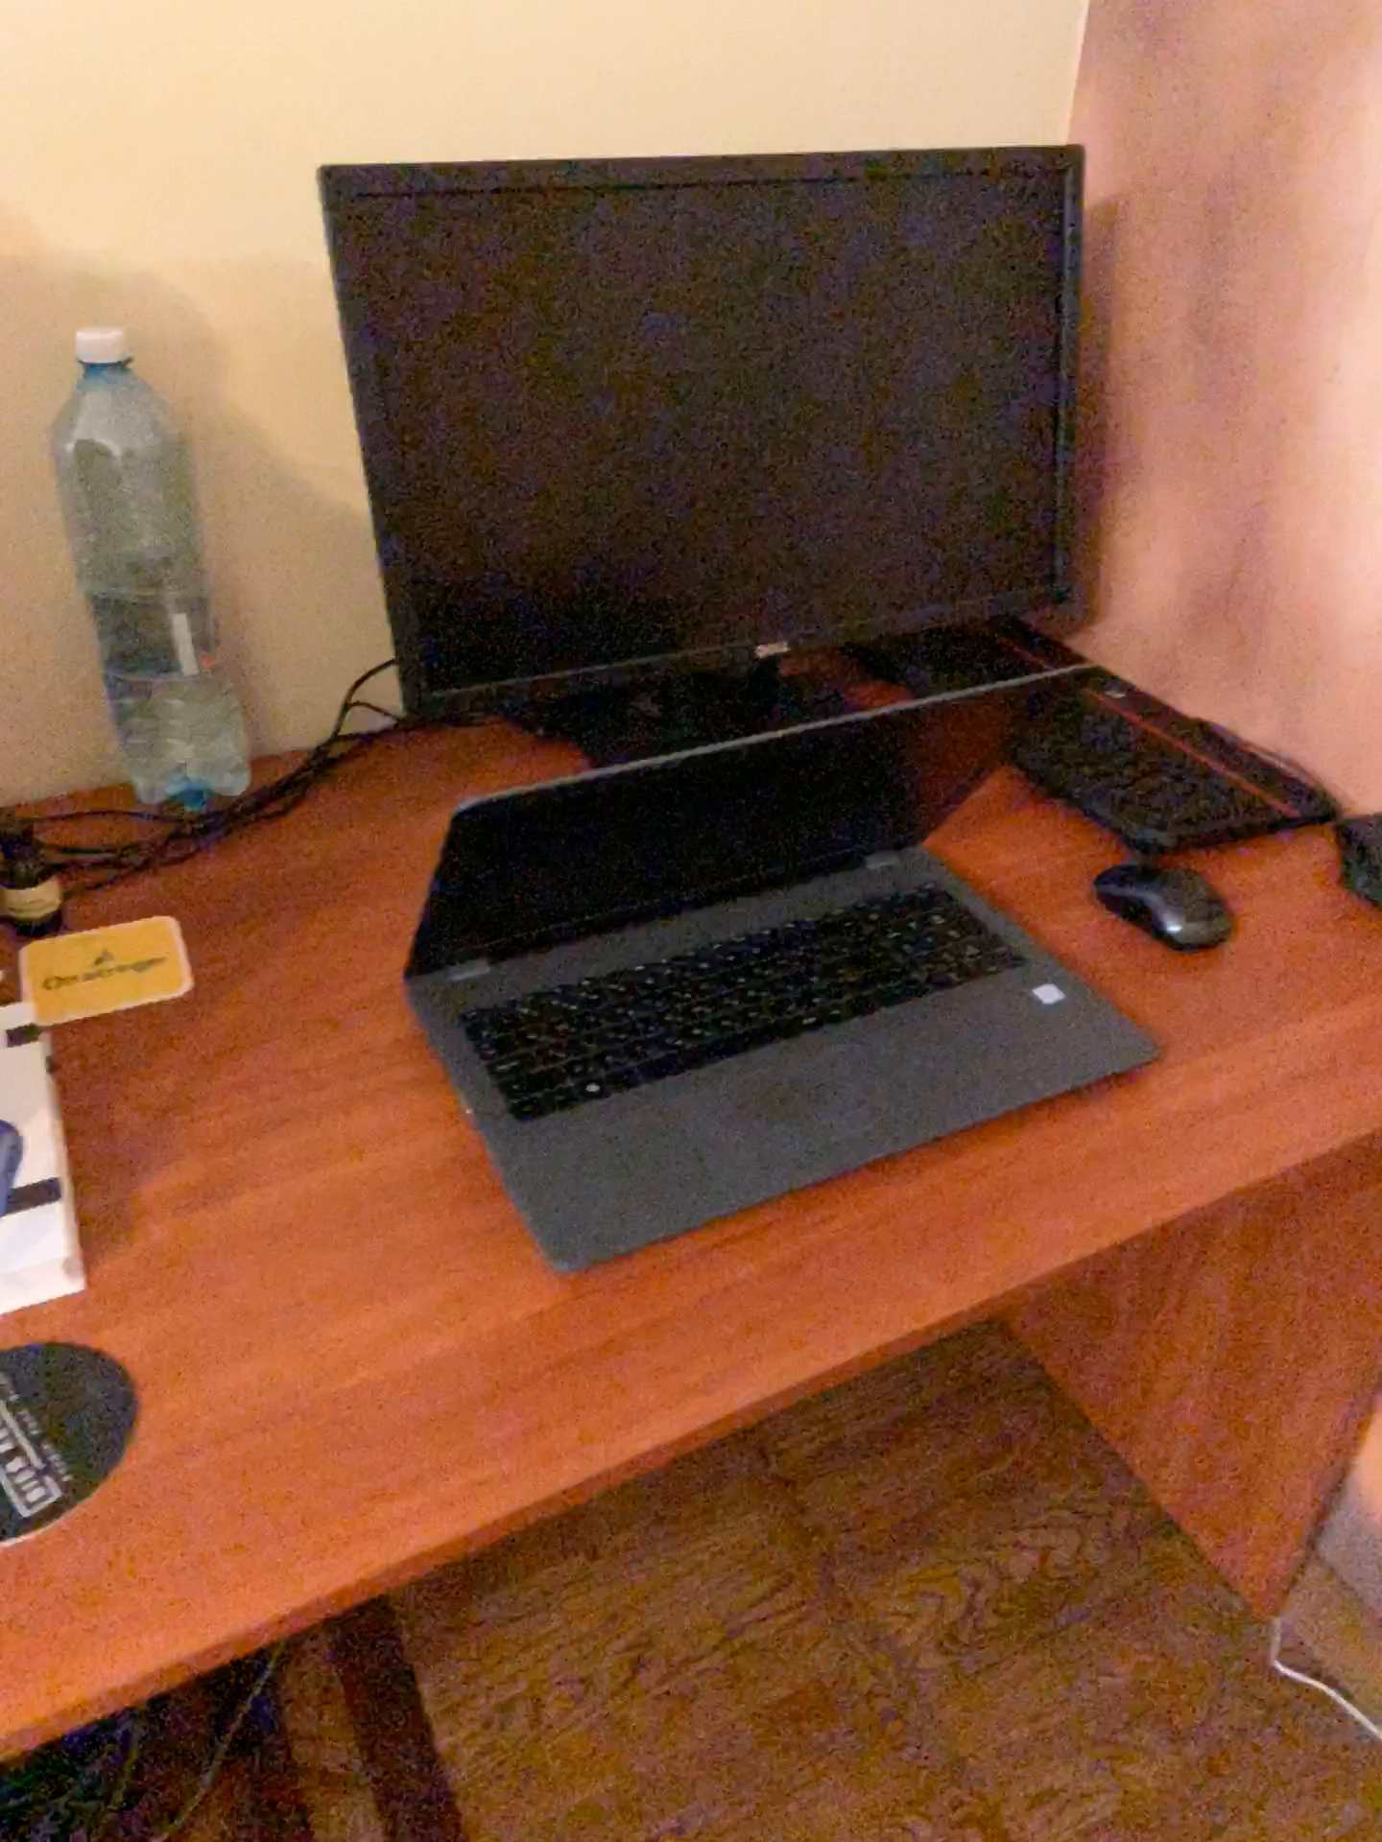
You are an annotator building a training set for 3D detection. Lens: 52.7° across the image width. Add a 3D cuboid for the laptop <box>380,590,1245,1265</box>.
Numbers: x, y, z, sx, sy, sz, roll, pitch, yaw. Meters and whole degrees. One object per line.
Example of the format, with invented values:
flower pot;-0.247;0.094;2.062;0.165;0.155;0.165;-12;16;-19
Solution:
laptop;0.056;-0.023;0.789;0.385;0.193;0.246;-15;37;-22
